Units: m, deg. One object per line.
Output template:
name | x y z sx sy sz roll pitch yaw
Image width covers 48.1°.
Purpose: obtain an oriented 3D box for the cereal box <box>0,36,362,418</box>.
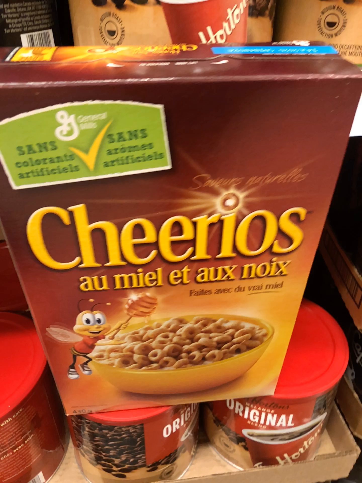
cereal box | -0.016 0.017 0.297 0.200 0.289 0.060 -4 39 -5
